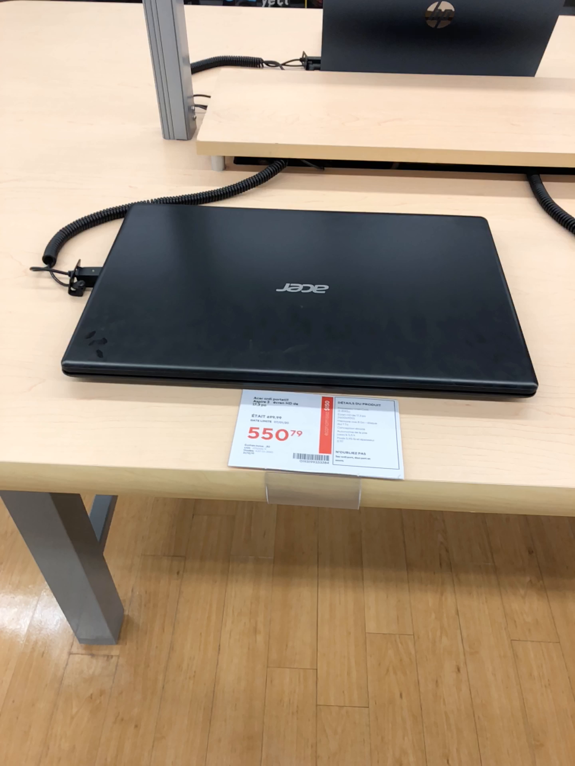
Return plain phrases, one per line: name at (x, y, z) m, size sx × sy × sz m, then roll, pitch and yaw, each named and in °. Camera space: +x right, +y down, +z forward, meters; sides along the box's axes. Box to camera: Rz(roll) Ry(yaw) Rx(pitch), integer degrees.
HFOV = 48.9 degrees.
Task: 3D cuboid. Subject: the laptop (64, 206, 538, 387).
laptop at (0.014, -0.103, 0.649) m, size 0.416 × 0.001 × 0.268 m, roll 3°, pitch 46°, yaw 2°
